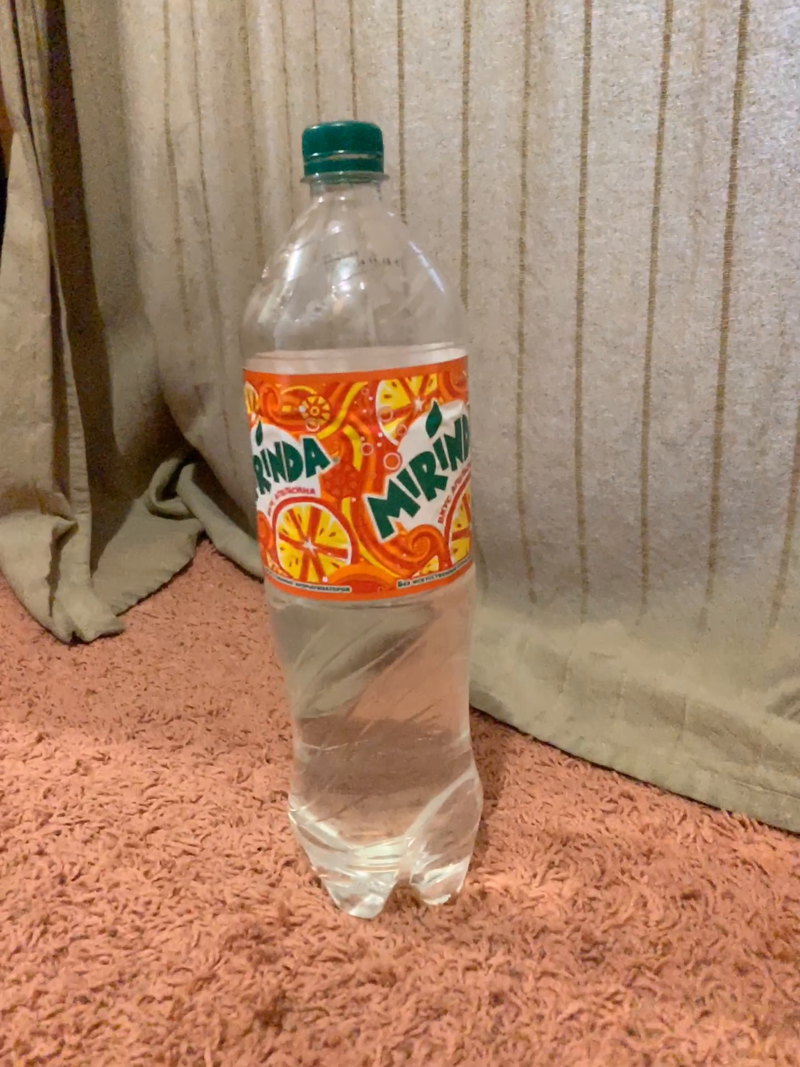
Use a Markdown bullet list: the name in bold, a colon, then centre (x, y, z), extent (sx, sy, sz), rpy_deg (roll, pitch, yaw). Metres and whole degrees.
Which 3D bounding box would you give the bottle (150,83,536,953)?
- **bottle**: centre (-0.017, -0.004, 0.340), extent (0.100, 0.298, 0.100), rpy_deg (-2, 16, 0)
